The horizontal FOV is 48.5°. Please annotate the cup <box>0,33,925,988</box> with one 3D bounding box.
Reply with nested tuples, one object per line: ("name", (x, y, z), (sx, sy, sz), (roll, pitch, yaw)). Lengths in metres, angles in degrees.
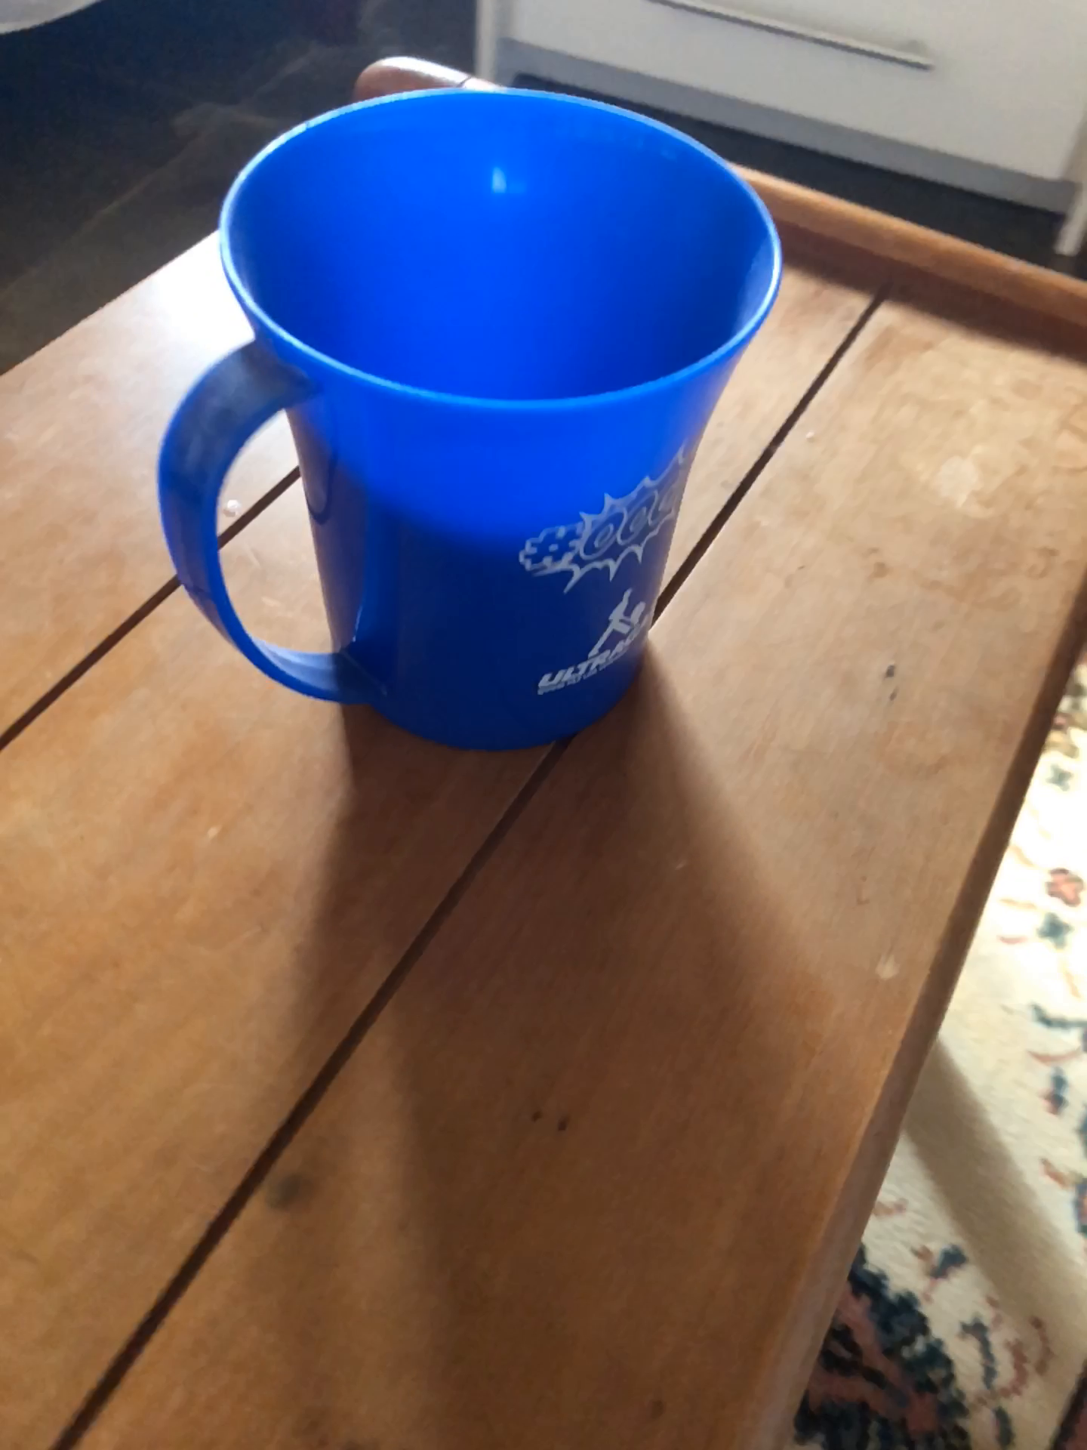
("cup", (-0.019, -0.044, 0.227), (0.100, 0.099, 0.121), (40, 58, 23))
